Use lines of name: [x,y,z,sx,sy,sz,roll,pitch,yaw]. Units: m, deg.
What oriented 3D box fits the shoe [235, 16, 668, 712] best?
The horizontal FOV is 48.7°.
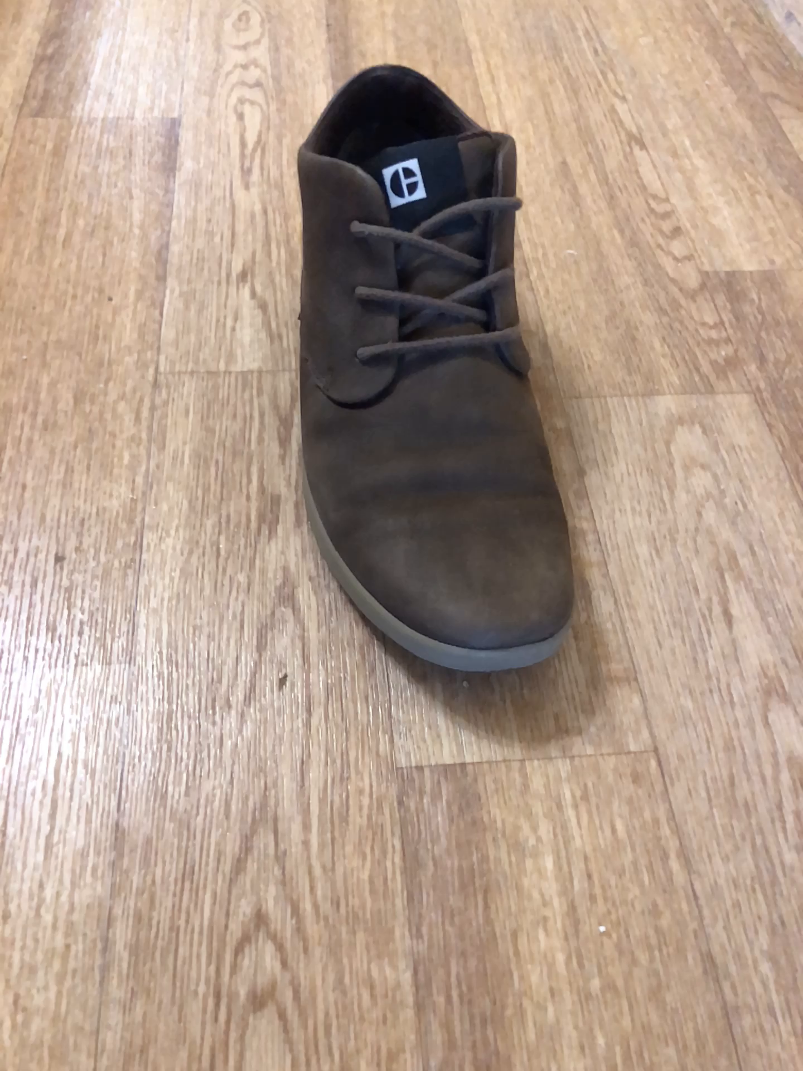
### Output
shoe: [-0.002,-0.084,0.353,0.100,0.110,0.271,-6,55,-8]
